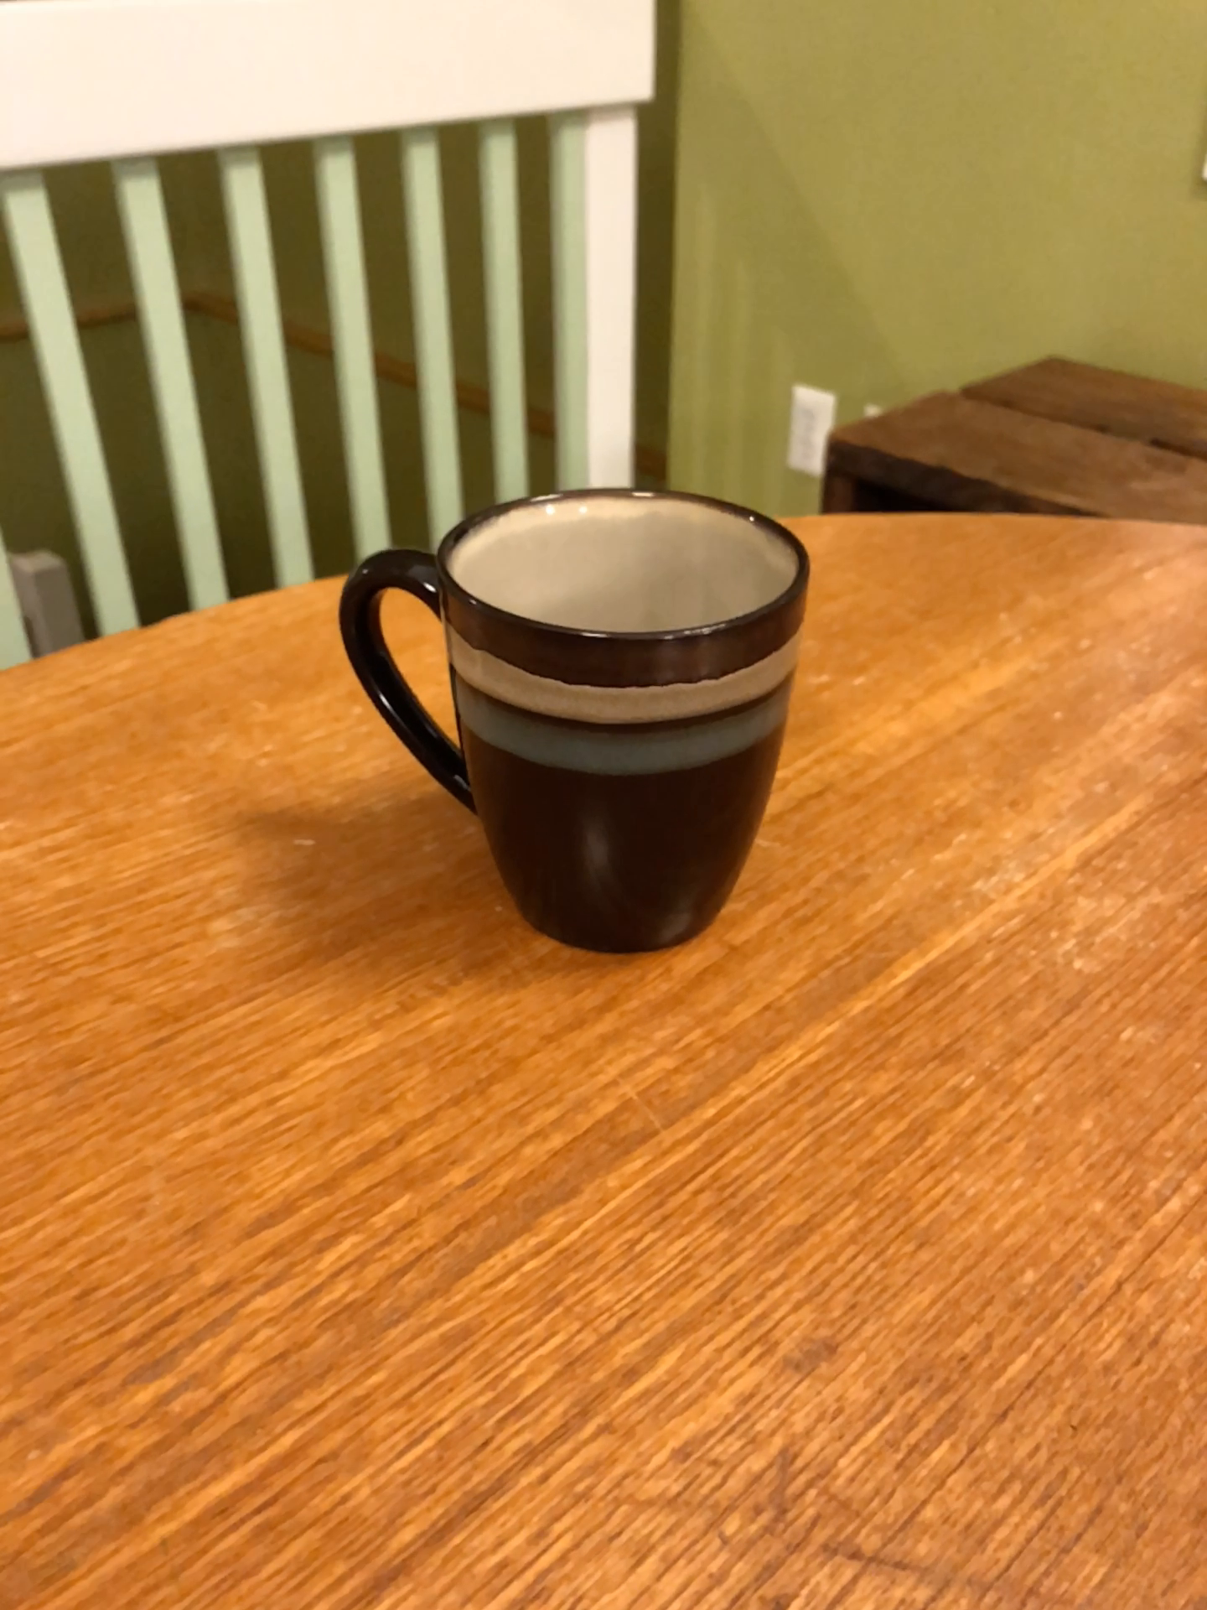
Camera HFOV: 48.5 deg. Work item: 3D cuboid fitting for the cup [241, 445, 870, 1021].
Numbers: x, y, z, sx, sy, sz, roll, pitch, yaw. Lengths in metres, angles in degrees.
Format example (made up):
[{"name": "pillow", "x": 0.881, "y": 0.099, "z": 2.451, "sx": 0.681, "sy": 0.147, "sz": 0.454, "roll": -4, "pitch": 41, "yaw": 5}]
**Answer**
[{"name": "cup", "x": -0.010, "y": -0.027, "z": 0.362, "sx": 0.125, "sy": 0.094, "sz": 0.099, "roll": 17, "pitch": 36, "yaw": 24}]
